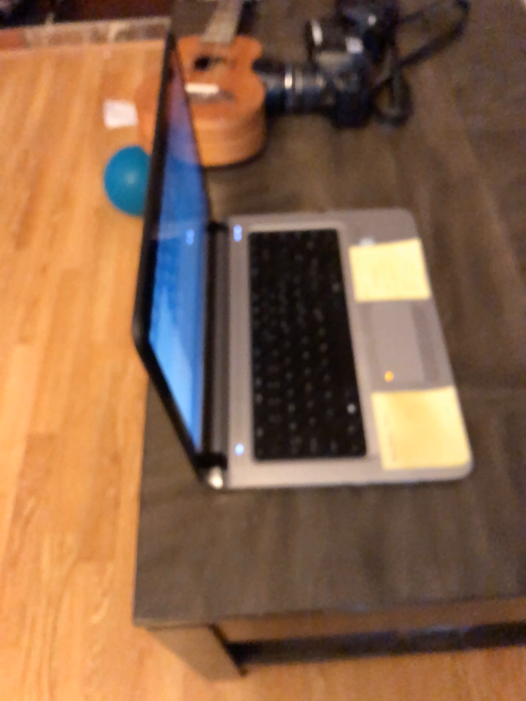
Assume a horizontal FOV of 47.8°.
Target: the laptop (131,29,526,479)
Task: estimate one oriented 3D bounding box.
[{"bbox_3d":[0.046,-0.085,0.517,0.246,0.217,0.319,-3,56,0],"label":"laptop"}]
